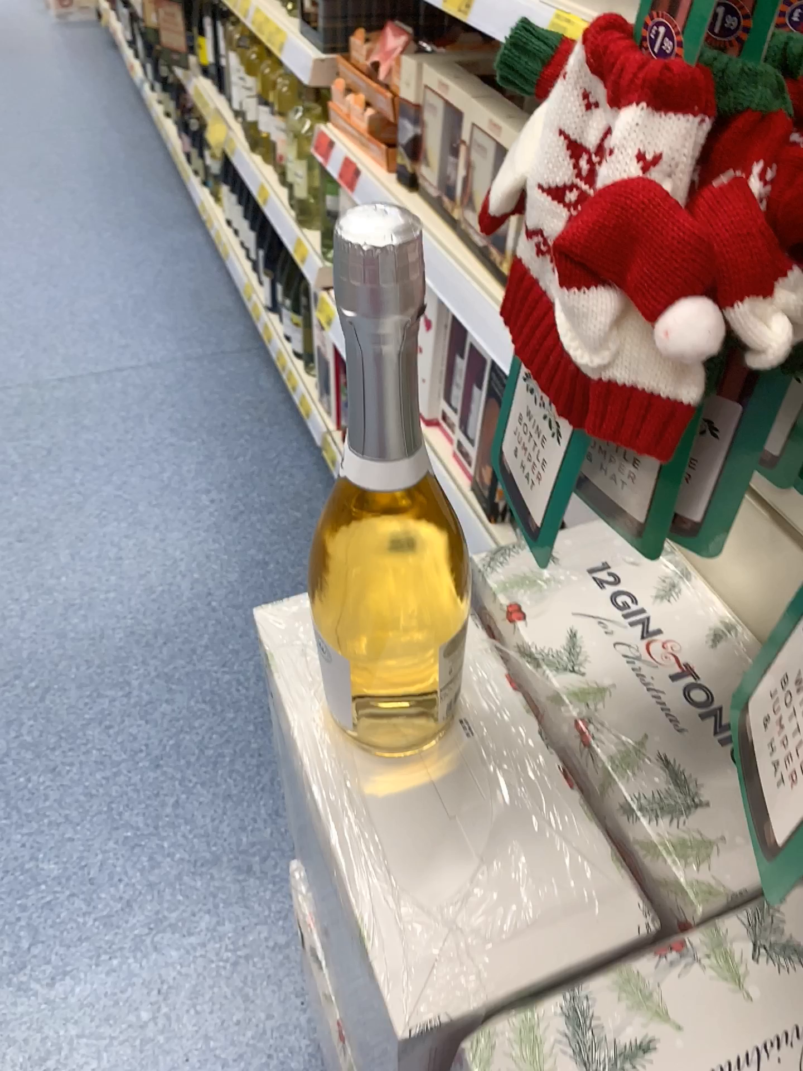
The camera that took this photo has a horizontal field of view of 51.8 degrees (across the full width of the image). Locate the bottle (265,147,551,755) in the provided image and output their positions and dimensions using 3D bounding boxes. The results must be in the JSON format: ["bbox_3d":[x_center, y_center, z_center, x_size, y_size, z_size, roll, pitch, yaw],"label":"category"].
[{"bbox_3d":[-0.004,-0.017,0.409,0.095,0.298,0.095,2,42,-2],"label":"bottle"}]
